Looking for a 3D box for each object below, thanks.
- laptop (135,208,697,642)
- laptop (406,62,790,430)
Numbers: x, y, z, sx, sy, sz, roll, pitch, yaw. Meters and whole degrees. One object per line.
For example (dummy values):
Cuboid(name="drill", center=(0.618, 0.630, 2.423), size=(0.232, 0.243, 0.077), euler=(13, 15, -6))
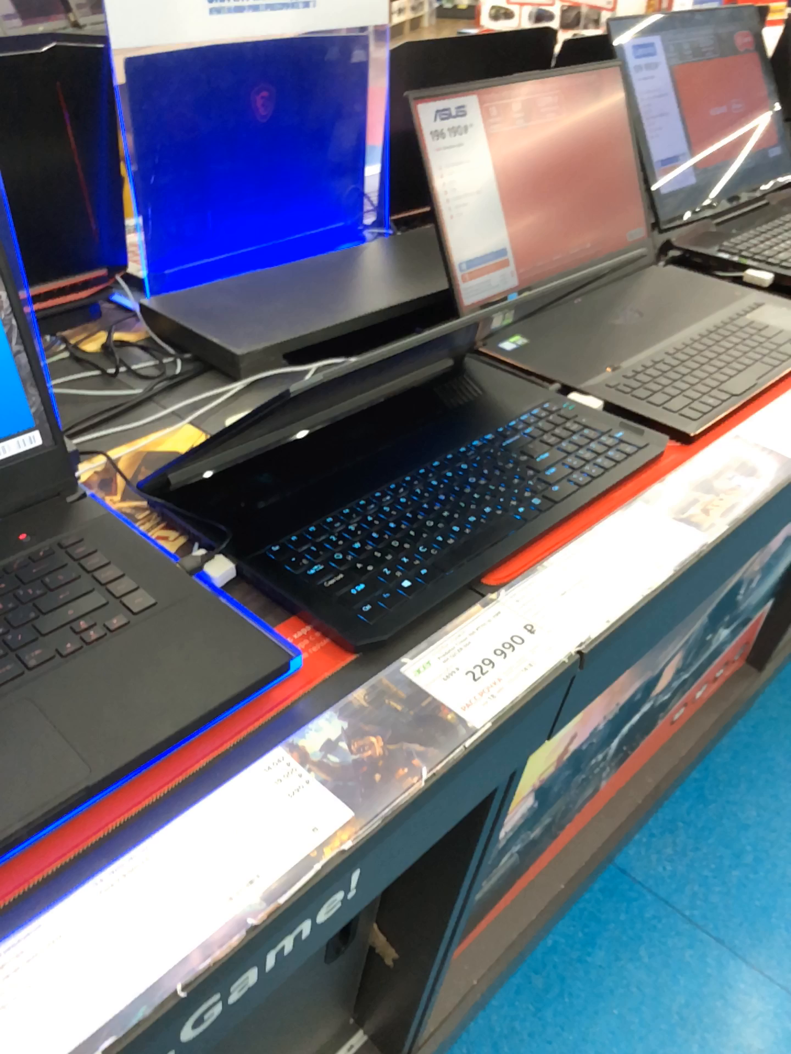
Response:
Cuboid(name="laptop", center=(0.030, -0.113, 0.689), size=(0.226, 0.152, 0.371), euler=(30, 44, 33))
Cuboid(name="laptop", center=(0.276, -0.335, 0.942), size=(0.363, 0.235, 0.373), euler=(29, 44, 34))
